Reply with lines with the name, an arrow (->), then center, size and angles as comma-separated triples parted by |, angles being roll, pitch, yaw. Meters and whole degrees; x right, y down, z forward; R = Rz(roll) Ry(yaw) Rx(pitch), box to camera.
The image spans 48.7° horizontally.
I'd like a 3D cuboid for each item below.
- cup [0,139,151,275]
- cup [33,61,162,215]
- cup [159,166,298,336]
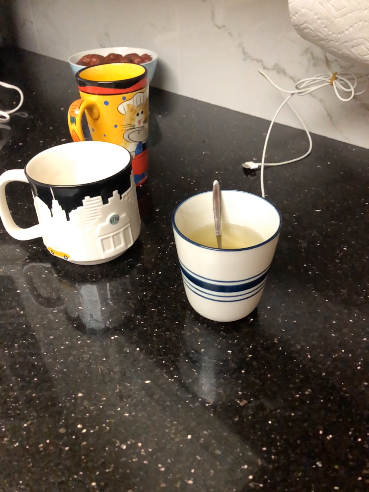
cup -> -0.119, -0.044, 0.446 | 0.150, 0.109, 0.101 | -1, 37, 1
cup -> -0.102, -0.146, 0.535 | 0.090, 0.149, 0.131 | 13, 39, 18
cup -> 0.042, 0.002, 0.372 | 0.100, 0.109, 0.090 | 9, 38, 13
